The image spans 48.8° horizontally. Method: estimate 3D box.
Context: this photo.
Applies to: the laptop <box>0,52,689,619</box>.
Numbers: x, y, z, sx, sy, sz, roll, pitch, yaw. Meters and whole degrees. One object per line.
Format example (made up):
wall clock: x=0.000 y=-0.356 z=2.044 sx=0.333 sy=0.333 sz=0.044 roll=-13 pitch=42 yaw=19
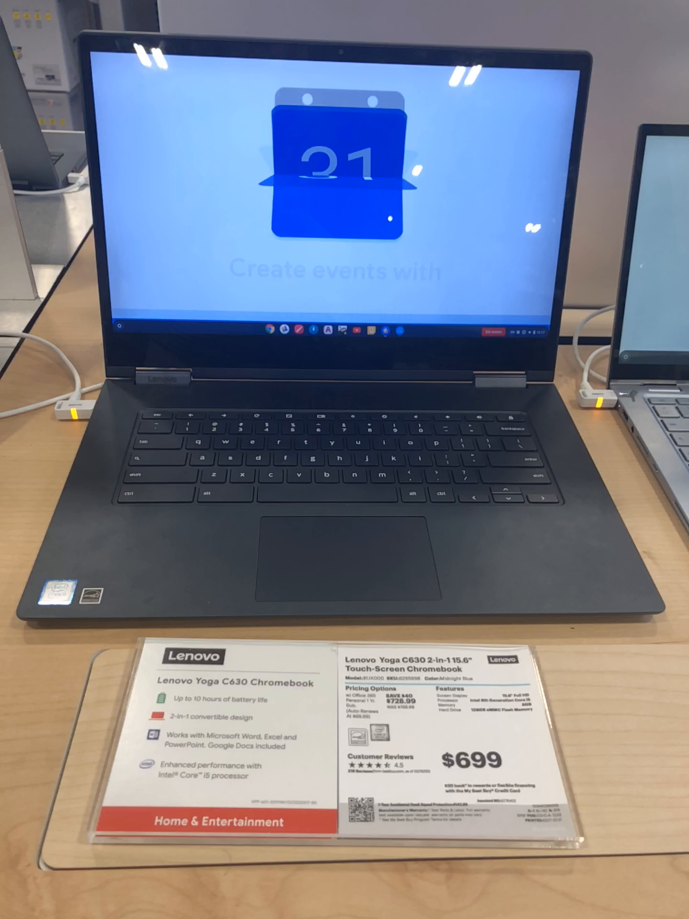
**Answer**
laptop: x=0.008 y=-0.095 z=0.459 sx=0.343 sy=0.230 sz=0.293 roll=0 pitch=36 yaw=-2
